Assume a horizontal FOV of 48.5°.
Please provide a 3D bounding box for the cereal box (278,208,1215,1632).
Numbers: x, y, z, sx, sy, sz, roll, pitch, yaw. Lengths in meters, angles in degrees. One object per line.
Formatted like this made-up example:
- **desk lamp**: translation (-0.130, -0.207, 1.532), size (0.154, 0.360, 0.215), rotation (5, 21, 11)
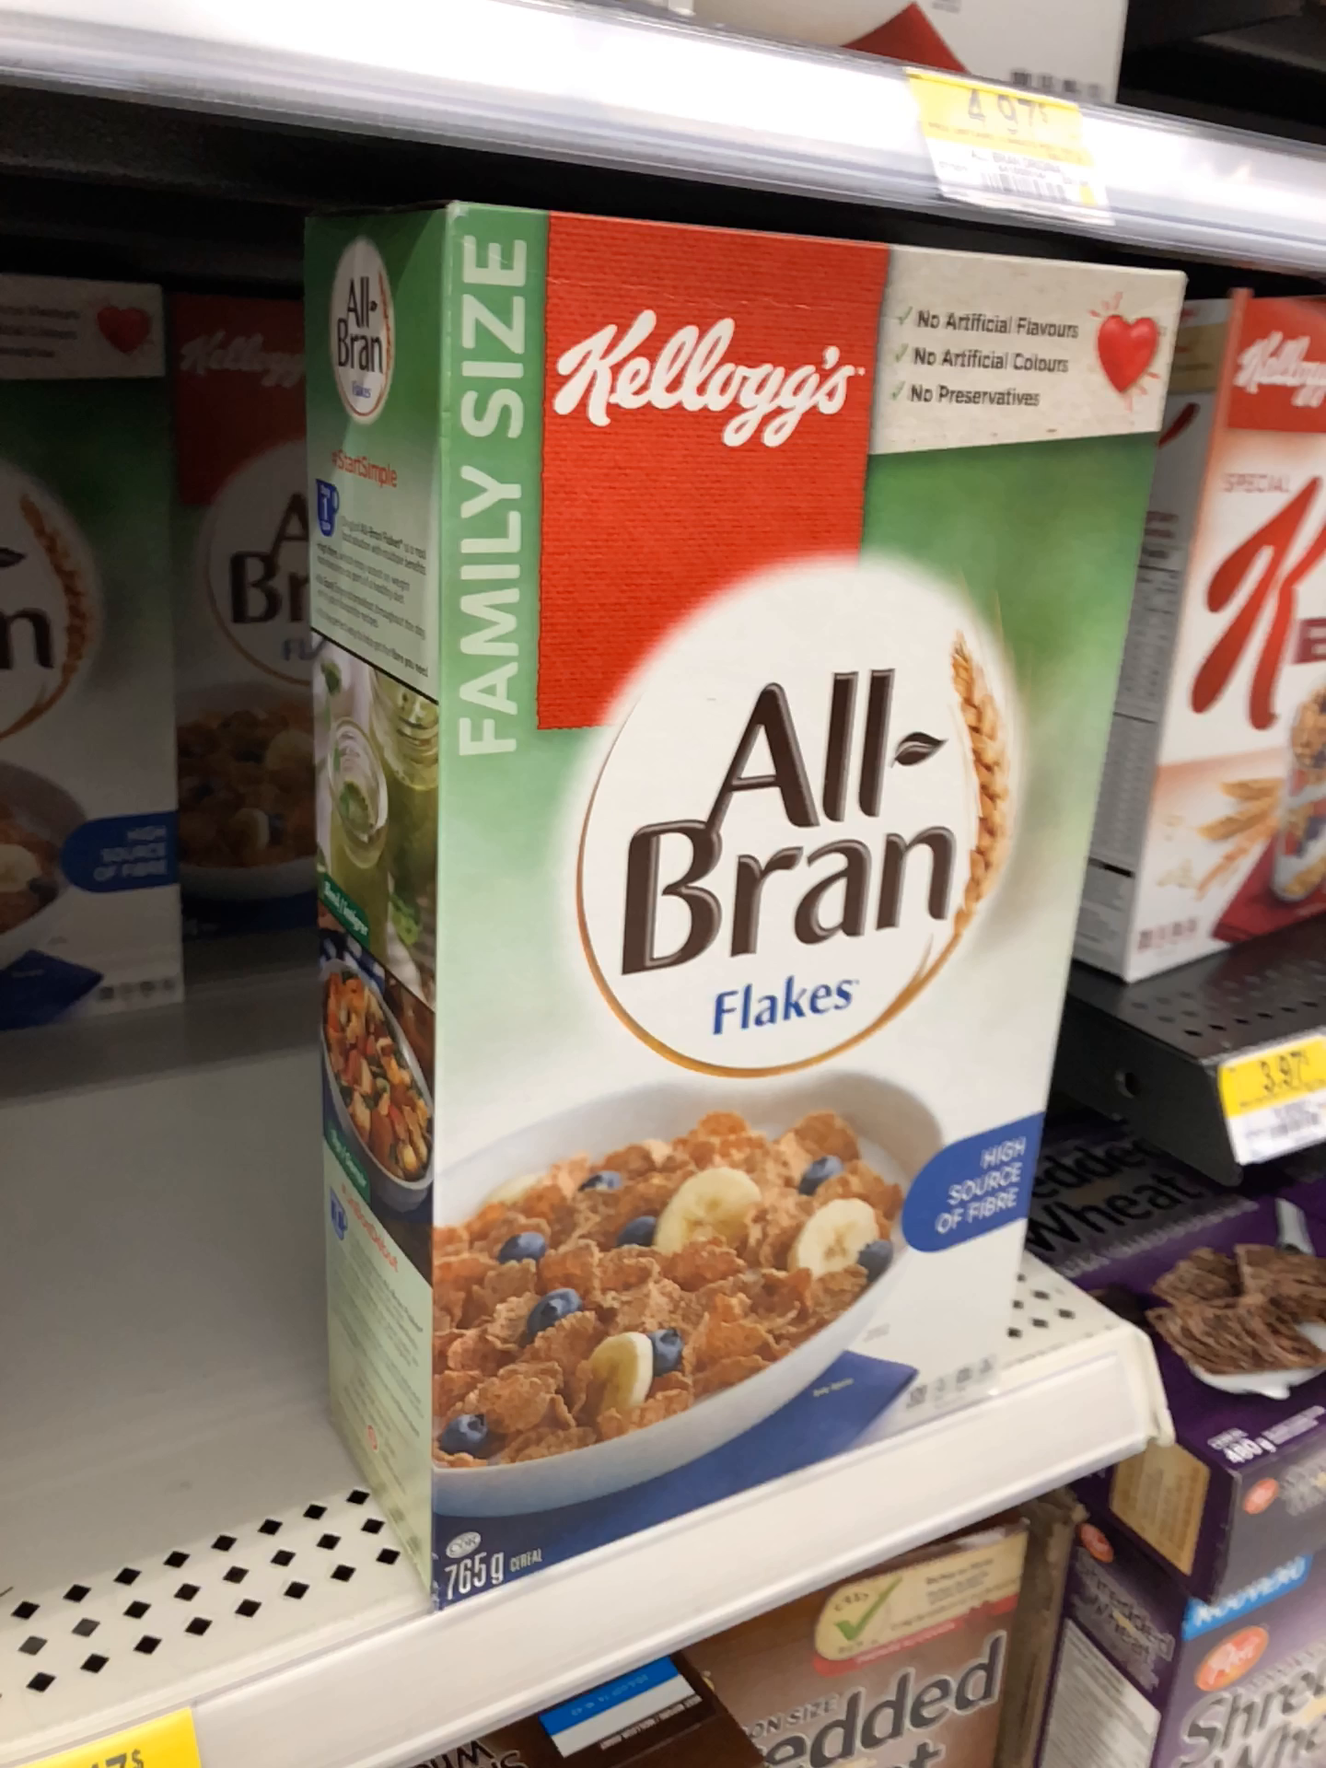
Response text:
- **cereal box**: translation (0.017, 0.006, 0.394), size (0.210, 0.318, 0.080), rotation (-8, 21, -30)
